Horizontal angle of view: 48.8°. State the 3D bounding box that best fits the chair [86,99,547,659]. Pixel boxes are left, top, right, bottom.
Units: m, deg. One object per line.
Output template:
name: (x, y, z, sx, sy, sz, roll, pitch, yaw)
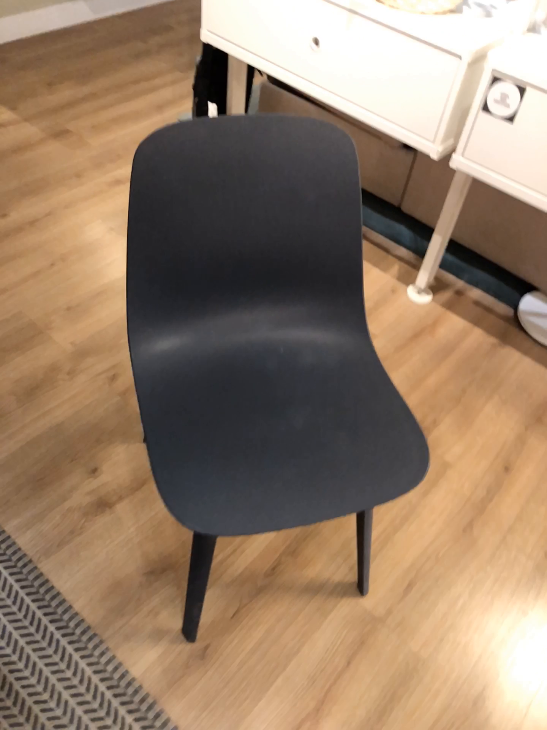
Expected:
chair: (-0.006, 0.042, 1.038, 0.470, 0.728, 0.561, -9, 51, -15)
